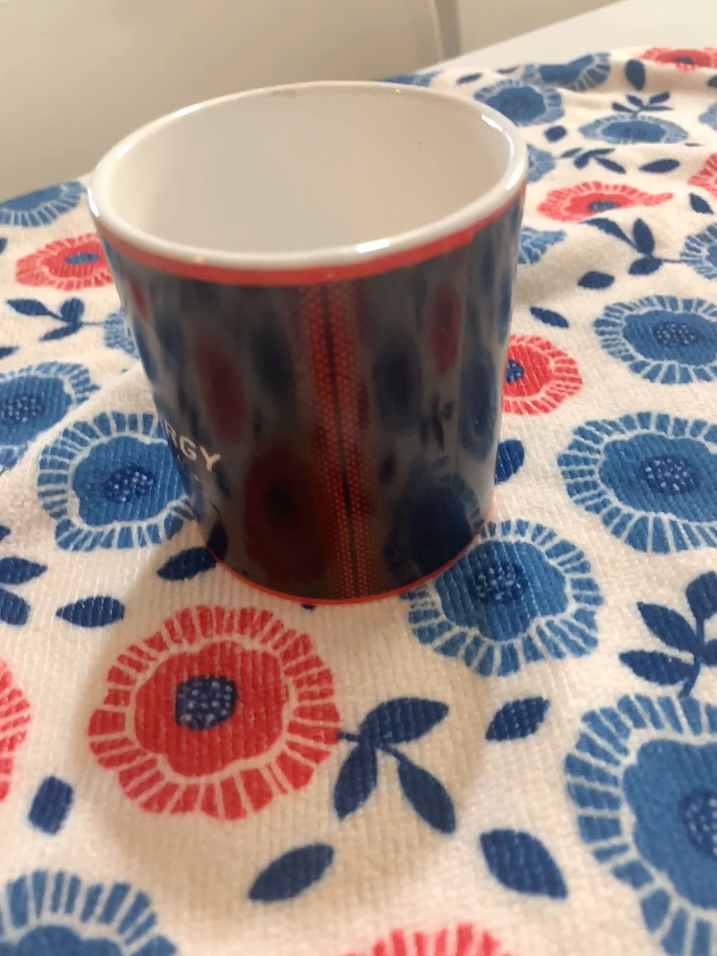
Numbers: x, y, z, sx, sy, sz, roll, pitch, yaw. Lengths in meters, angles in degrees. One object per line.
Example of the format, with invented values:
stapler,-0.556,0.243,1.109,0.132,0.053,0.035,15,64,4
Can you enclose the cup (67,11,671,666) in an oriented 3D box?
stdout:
cup,-0.004,-0.037,0.169,0.080,0.089,0.111,-9,44,-5
